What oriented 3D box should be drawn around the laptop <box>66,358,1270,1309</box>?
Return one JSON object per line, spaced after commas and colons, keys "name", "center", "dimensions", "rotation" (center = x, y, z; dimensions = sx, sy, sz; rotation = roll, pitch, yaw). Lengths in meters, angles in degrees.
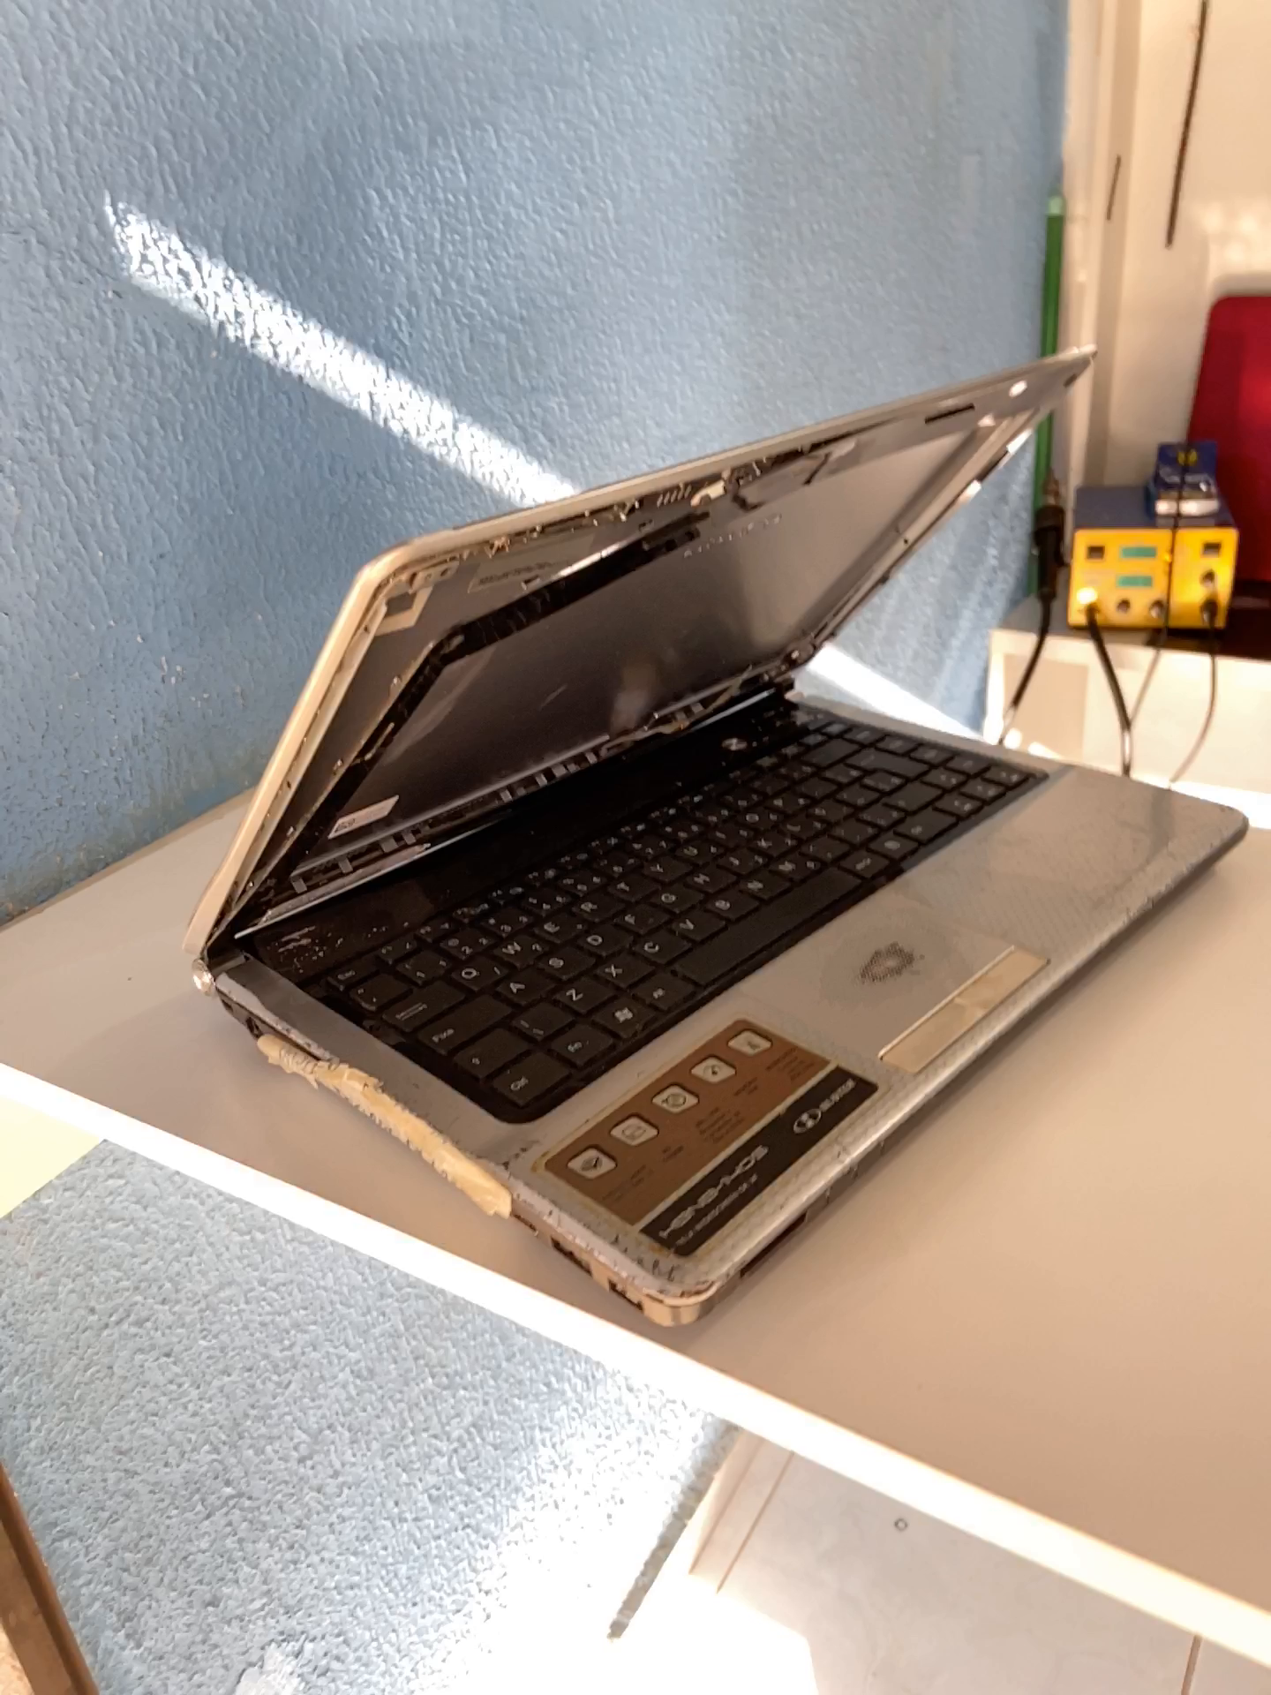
{"name": "laptop", "center": [0.034, -0.057, 0.448], "dimensions": [0.232, 0.160, 0.327], "rotation": [21, 36, 40]}
